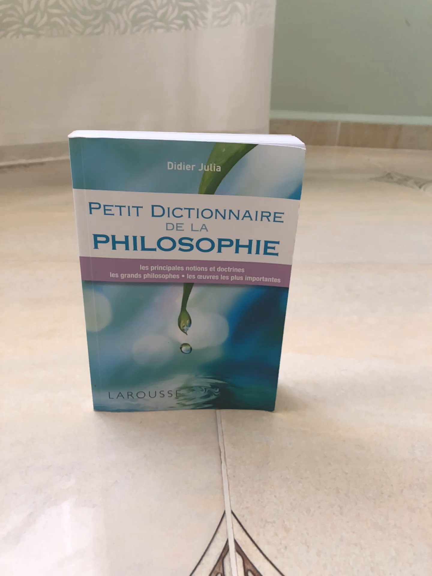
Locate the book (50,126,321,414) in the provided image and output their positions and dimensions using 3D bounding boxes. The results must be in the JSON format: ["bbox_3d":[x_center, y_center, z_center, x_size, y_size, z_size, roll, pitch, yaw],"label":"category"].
[{"bbox_3d":[-0.018,-0.003,0.306,0.140,0.185,0.035,0,28,-3],"label":"book"}]
